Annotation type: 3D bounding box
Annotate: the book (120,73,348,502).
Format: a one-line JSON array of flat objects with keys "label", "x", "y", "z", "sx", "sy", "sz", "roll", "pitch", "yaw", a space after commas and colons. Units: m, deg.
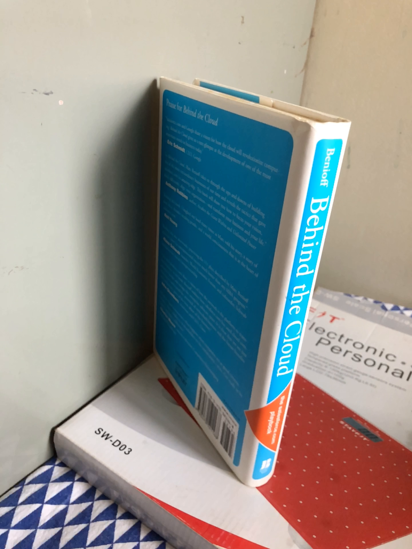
[{"label": "book", "x": -0.004, "y": -0.005, "z": 0.323, "sx": 0.040, "sy": 0.239, "sz": 0.191, "roll": -12, "pitch": 30, "yaw": -26}]
